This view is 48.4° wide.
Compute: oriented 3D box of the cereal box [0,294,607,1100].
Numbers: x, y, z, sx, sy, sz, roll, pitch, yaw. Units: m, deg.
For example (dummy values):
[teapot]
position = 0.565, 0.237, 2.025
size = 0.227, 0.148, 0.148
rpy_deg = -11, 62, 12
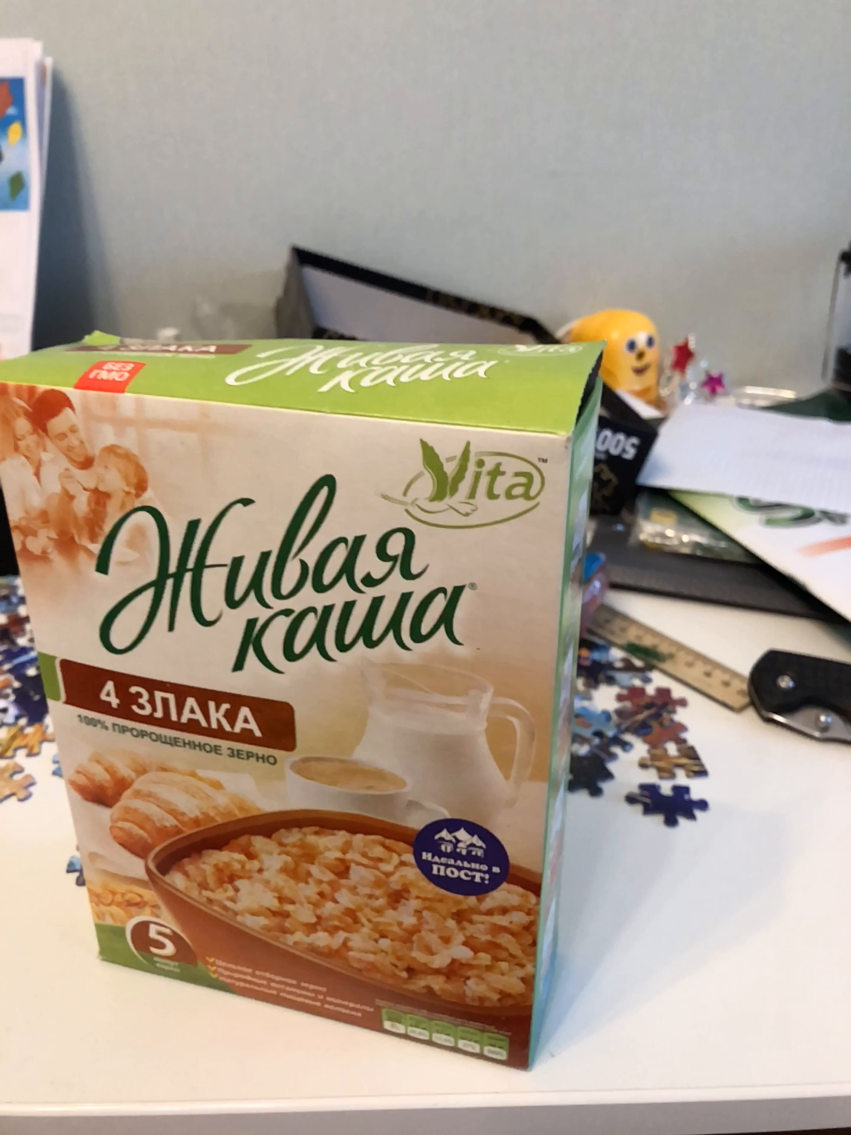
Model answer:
[cereal box]
position = -0.032, 0.039, 0.265
size = 0.140, 0.209, 0.050
rpy_deg = 8, 27, 15
